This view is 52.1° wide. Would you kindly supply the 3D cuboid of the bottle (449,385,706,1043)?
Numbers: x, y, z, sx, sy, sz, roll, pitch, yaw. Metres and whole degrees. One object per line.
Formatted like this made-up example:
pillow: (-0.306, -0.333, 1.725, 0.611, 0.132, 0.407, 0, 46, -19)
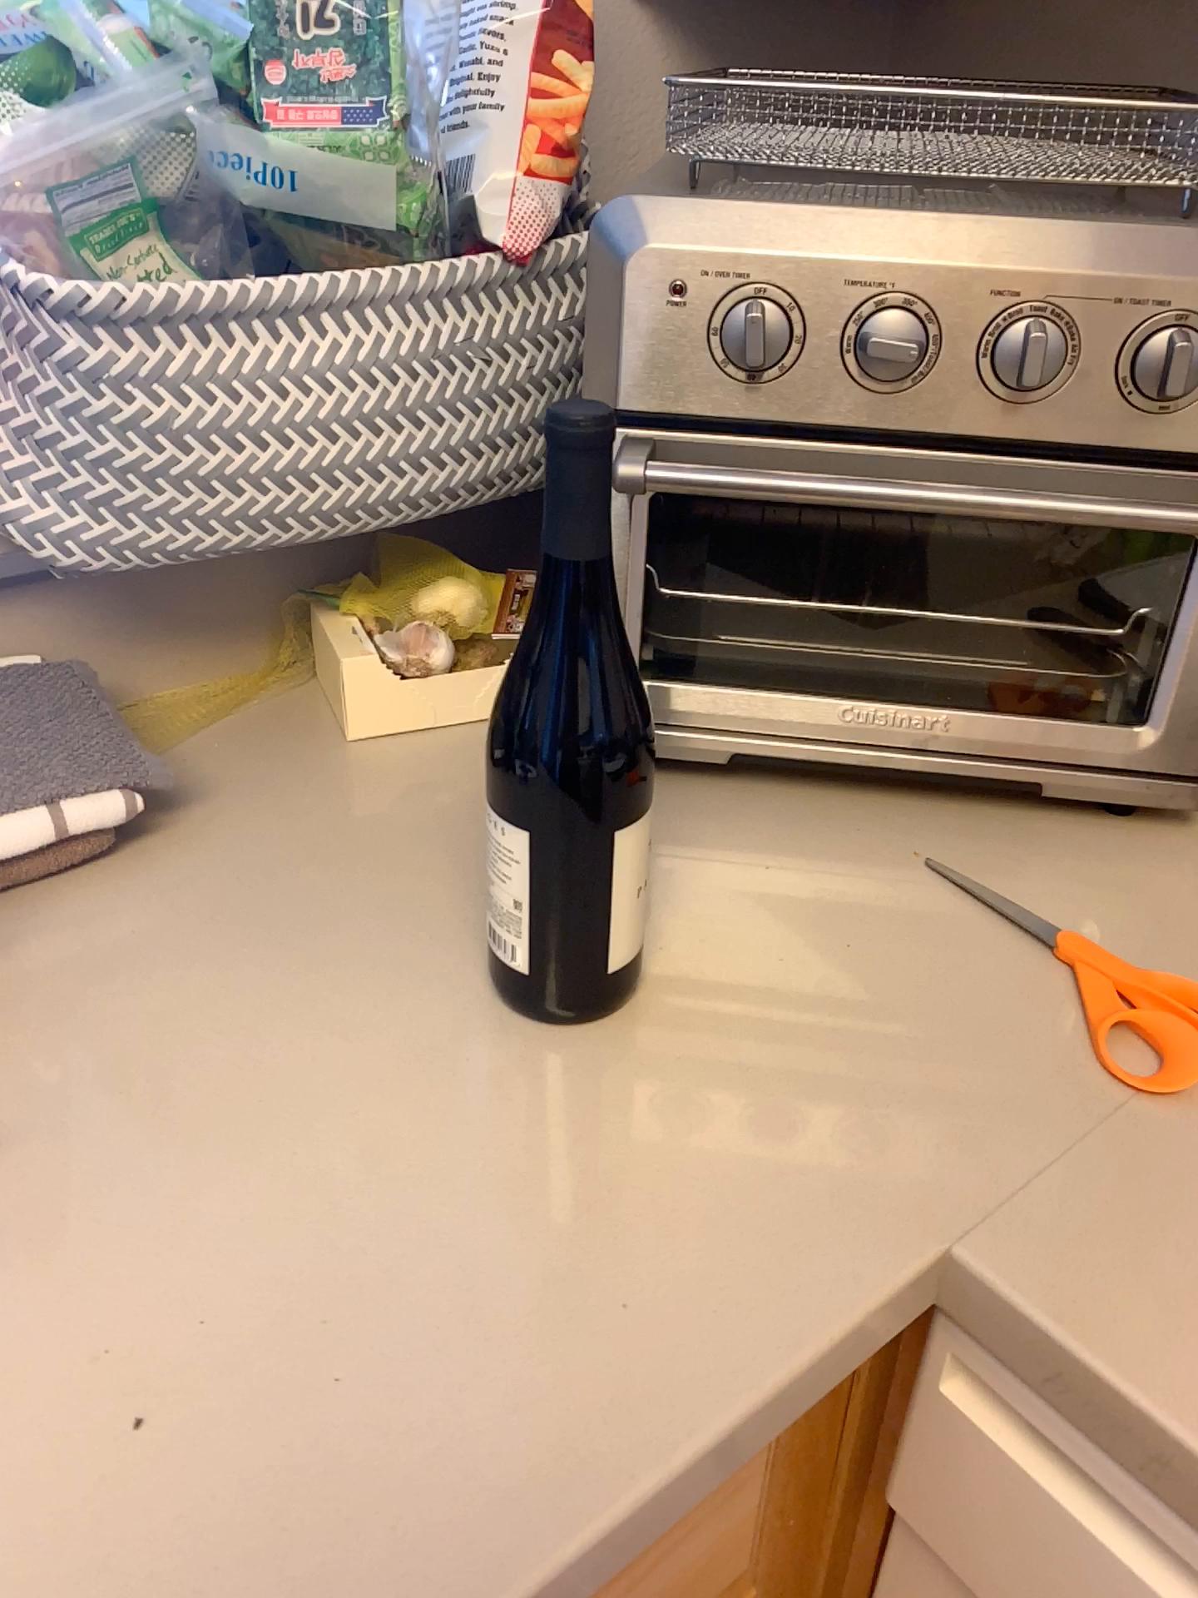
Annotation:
bottle: (-0.009, -0.030, 0.550, 0.090, 0.278, 0.091, 1, 32, -1)
